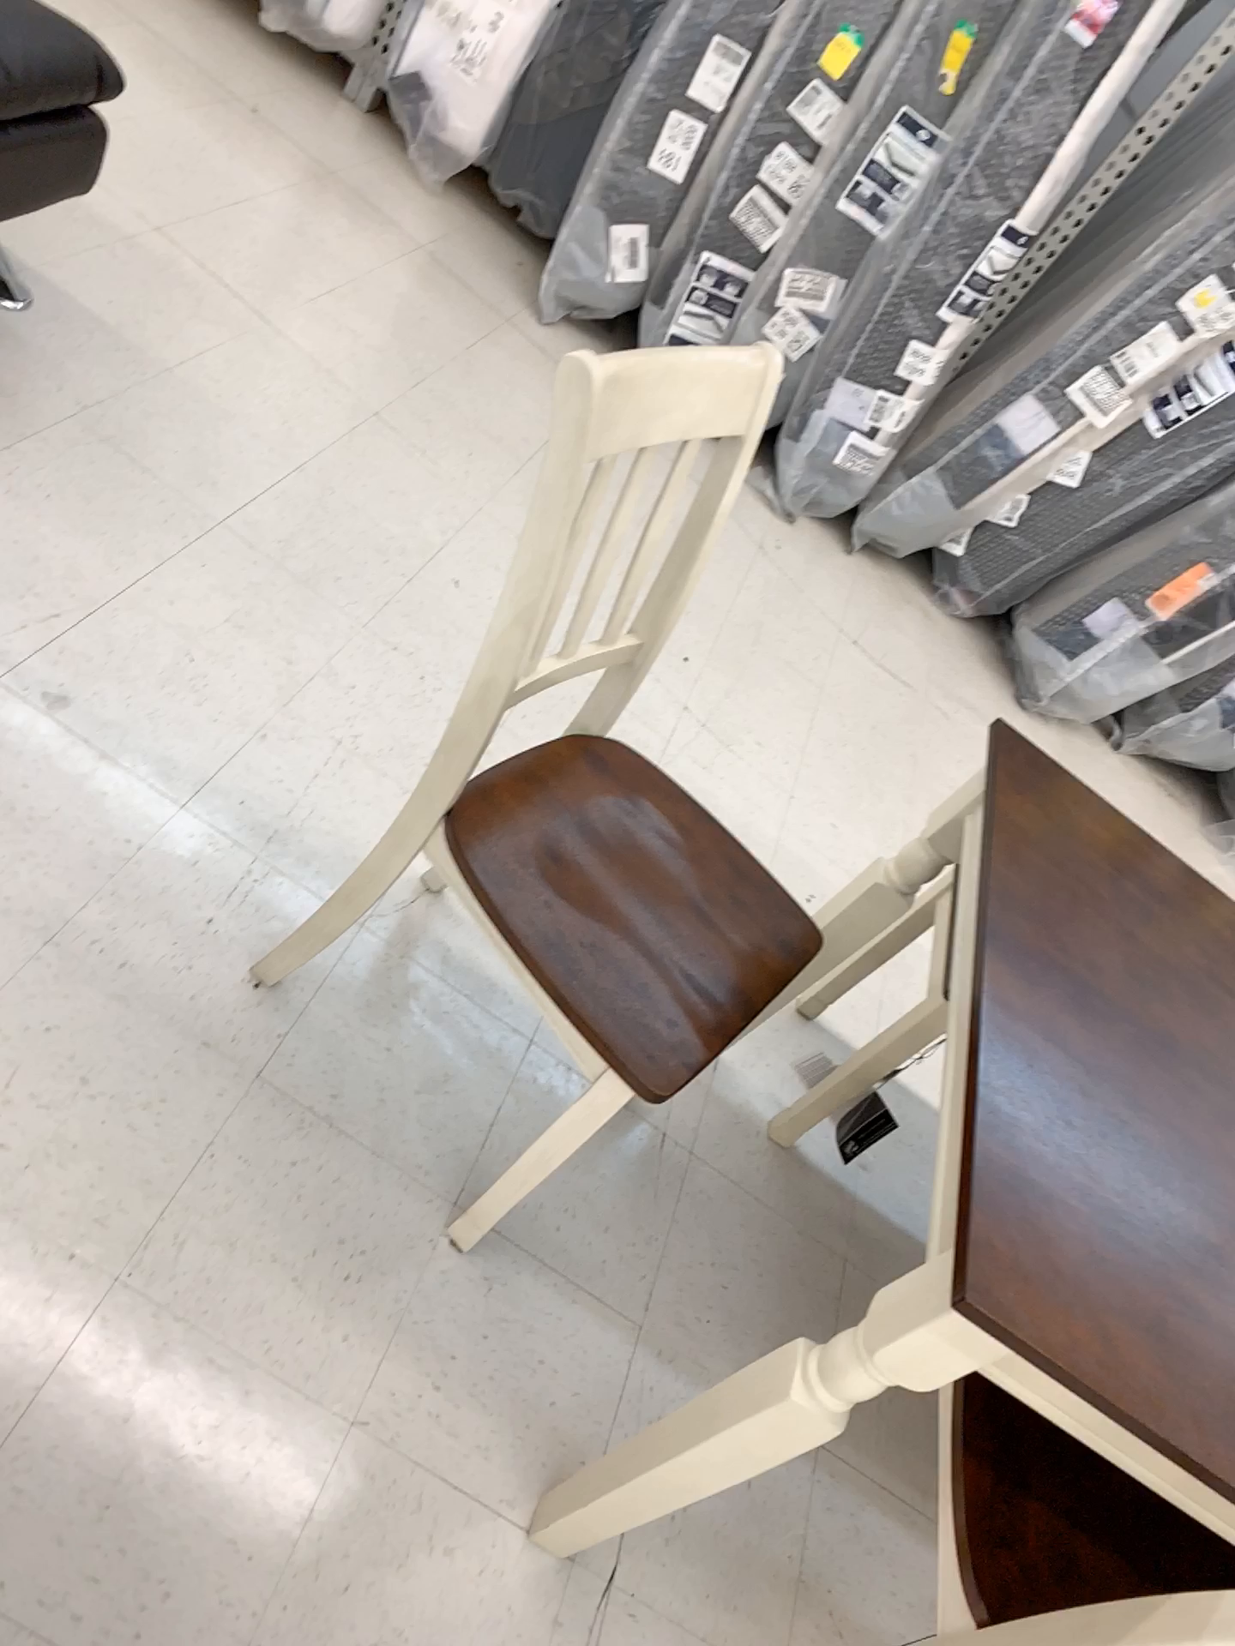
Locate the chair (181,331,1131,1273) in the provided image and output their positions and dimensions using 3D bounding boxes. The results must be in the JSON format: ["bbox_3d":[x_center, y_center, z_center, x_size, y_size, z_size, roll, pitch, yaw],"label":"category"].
[{"bbox_3d":[0.012,-0.017,1.516,0.570,0.905,0.533,47,37,7],"label":"chair"}]
